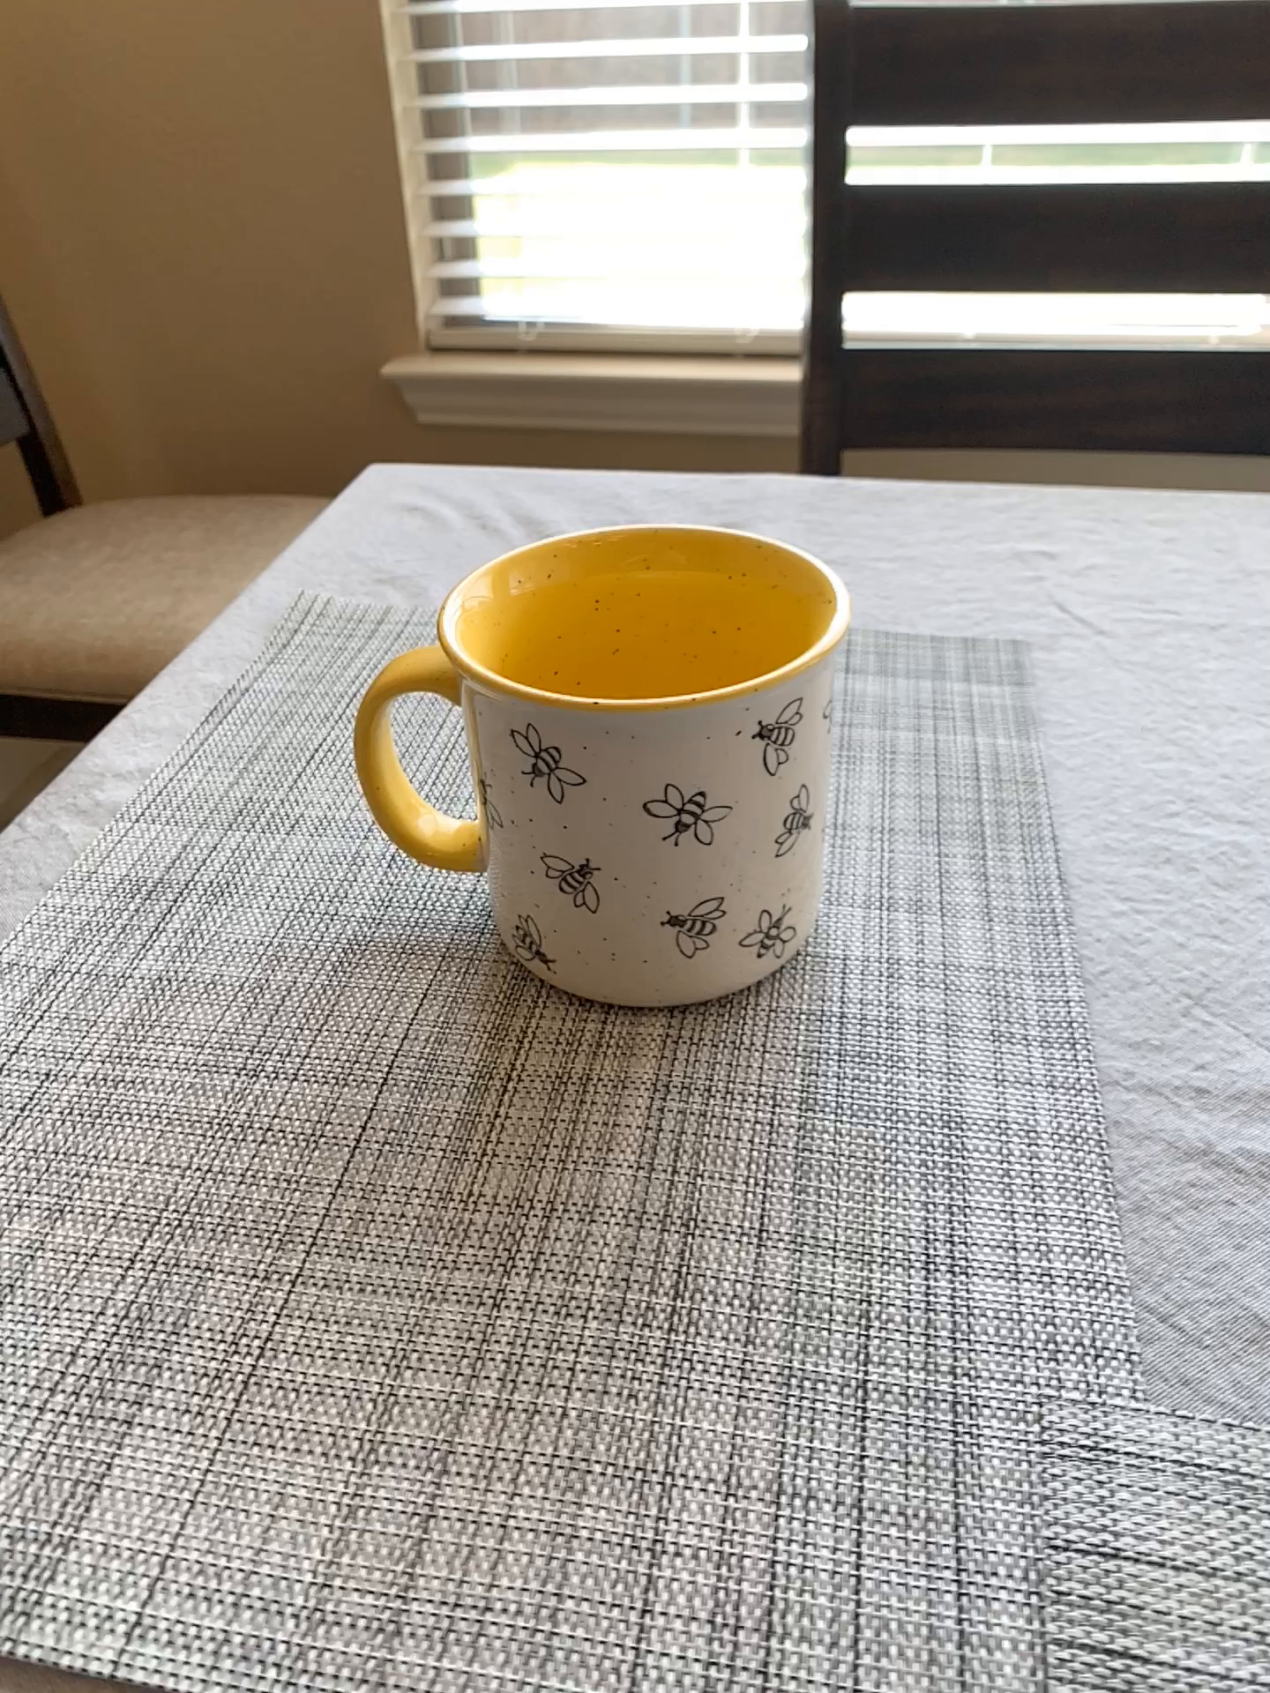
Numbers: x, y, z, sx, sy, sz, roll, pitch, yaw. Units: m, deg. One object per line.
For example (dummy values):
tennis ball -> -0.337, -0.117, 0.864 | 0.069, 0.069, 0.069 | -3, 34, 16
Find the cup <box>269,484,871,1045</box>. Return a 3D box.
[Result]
cup -> -0.009, -0.030, 0.382 | 0.136, 0.107, 0.114 | 6, 36, 11
